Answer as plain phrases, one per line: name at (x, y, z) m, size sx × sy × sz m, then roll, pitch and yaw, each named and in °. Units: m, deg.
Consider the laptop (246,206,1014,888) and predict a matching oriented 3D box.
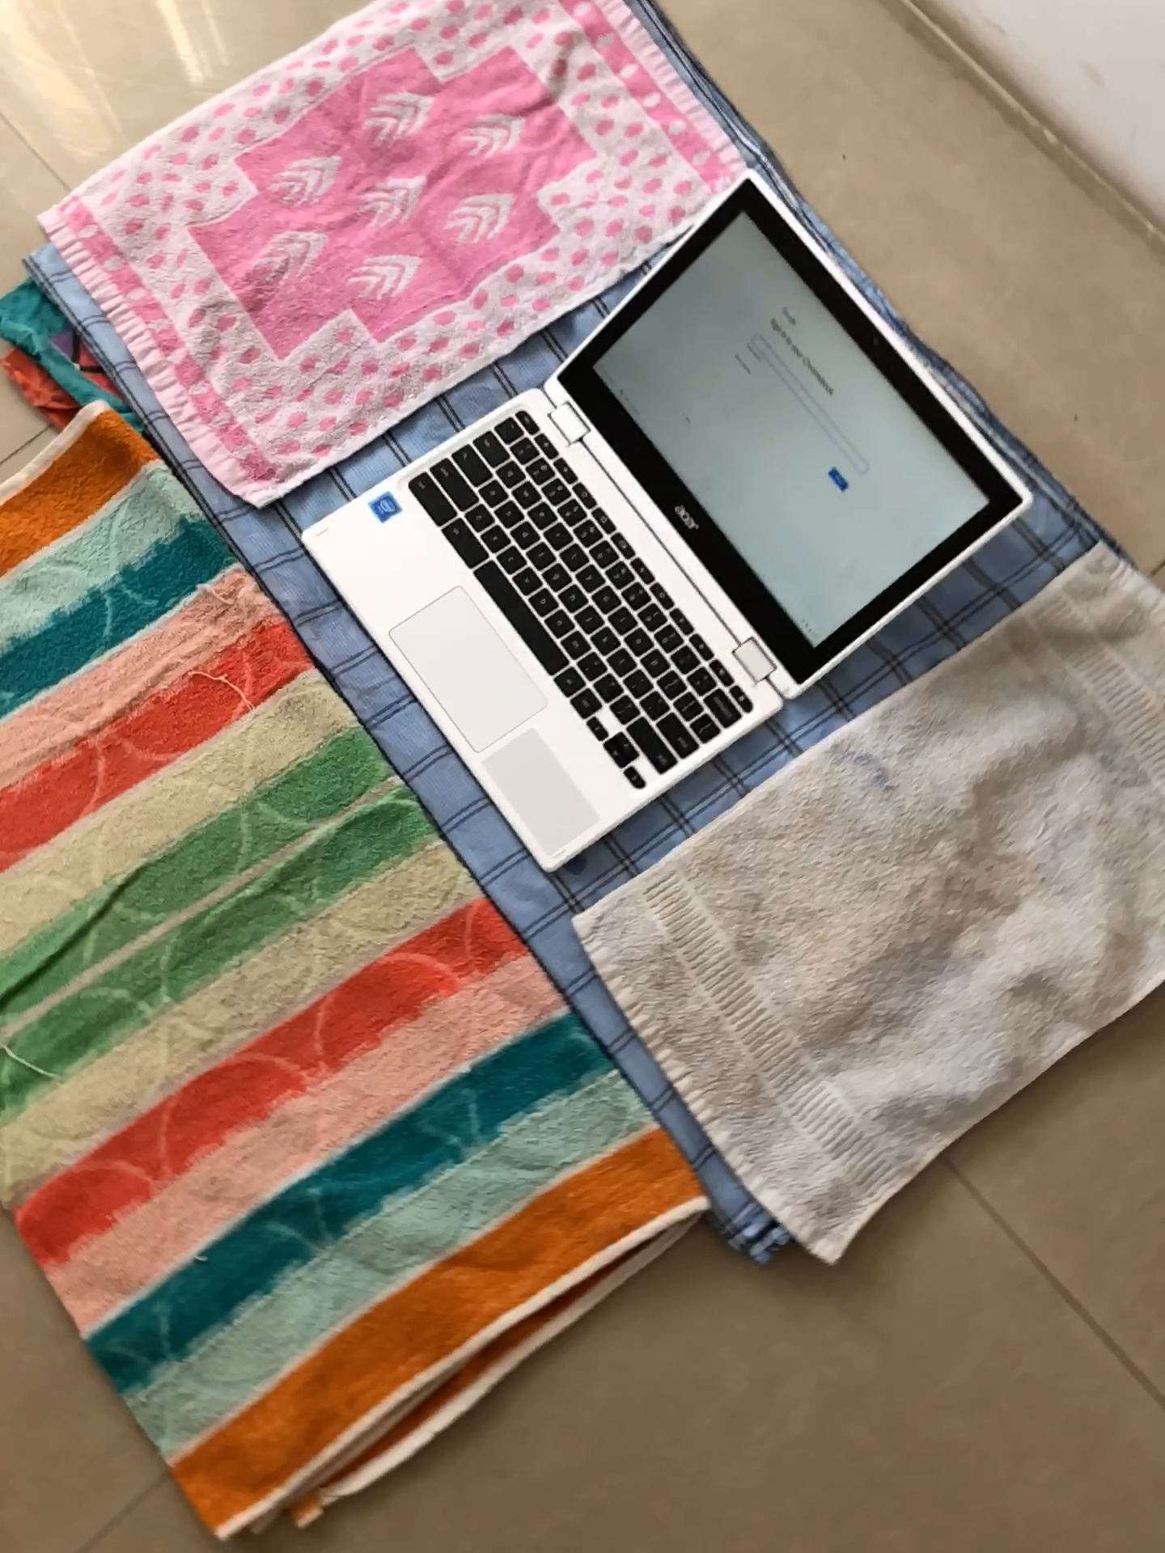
laptop at (0.033, -0.151, 0.831) m, size 0.367 × 0.101 × 0.285 m, roll -34°, pitch 81°, yaw -11°
